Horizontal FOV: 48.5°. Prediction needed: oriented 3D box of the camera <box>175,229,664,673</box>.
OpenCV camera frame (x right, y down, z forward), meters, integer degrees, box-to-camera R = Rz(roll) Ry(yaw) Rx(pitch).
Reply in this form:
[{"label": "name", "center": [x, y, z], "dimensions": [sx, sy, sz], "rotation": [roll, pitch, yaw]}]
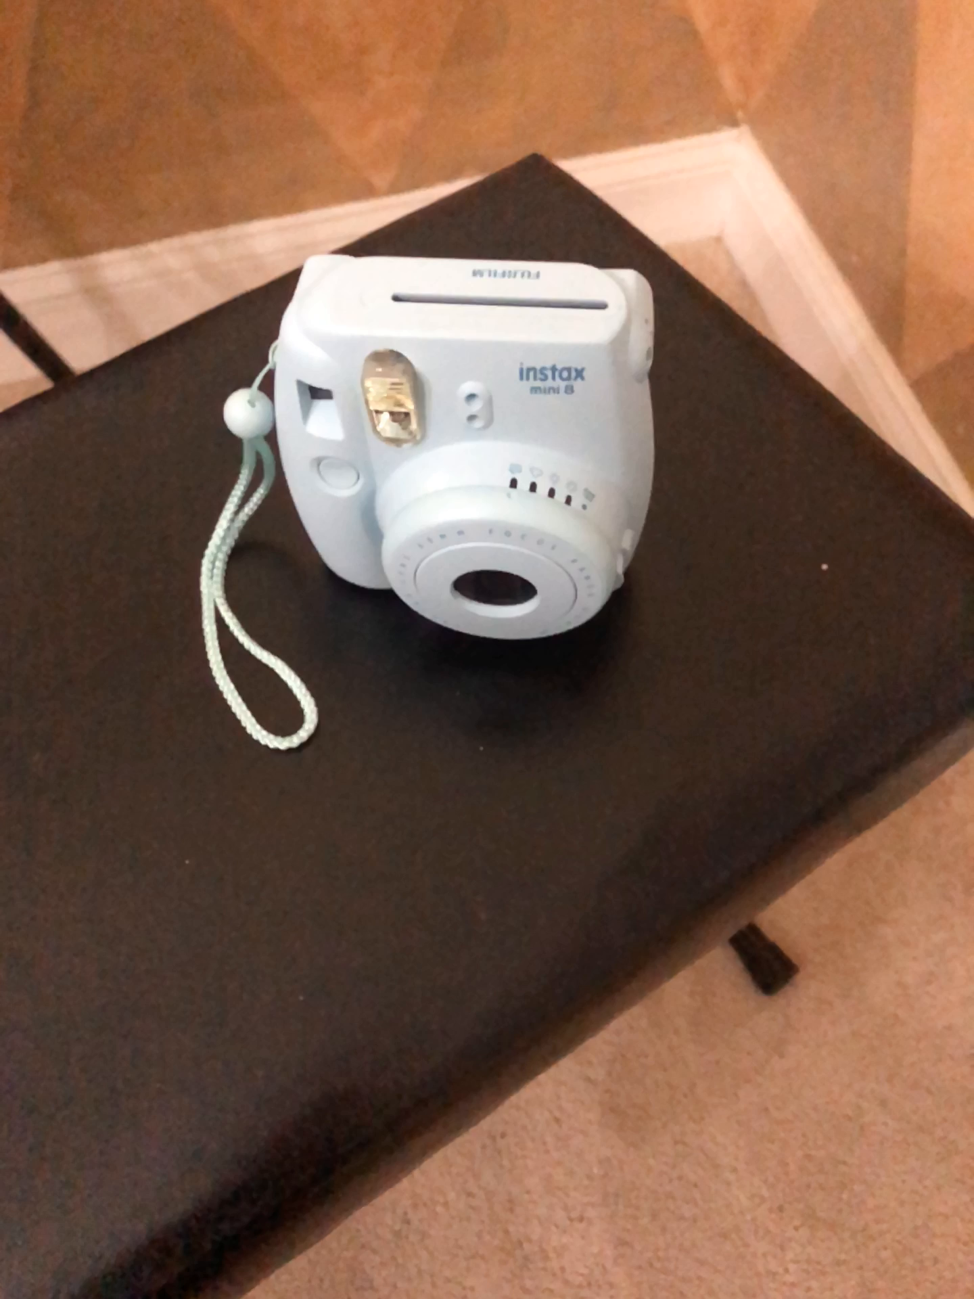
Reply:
[{"label": "camera", "center": [-0.012, -0.055, 0.332], "dimensions": [0.120, 0.118, 0.068], "rotation": [4, 60, 5]}]
